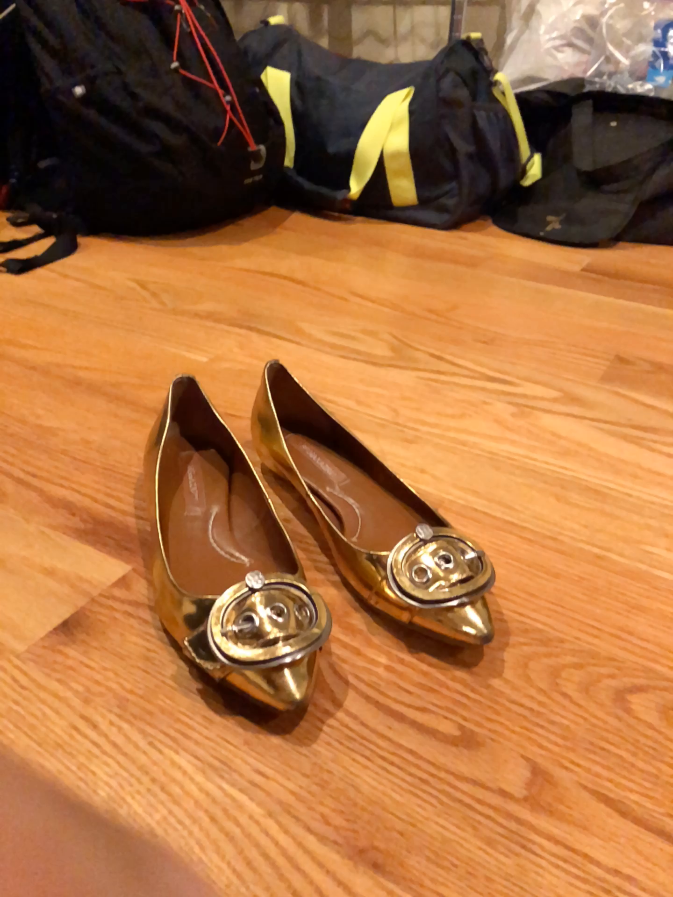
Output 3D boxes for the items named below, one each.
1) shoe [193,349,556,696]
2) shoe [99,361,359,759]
[{"bbox_3d":[0.004,0.023,0.440,0.083,0.066,0.245,-16,36,-28],"label":"shoe"},{"bbox_3d":[-0.073,0.036,0.412,0.077,0.066,0.250,-10,33,-19],"label":"shoe"}]
